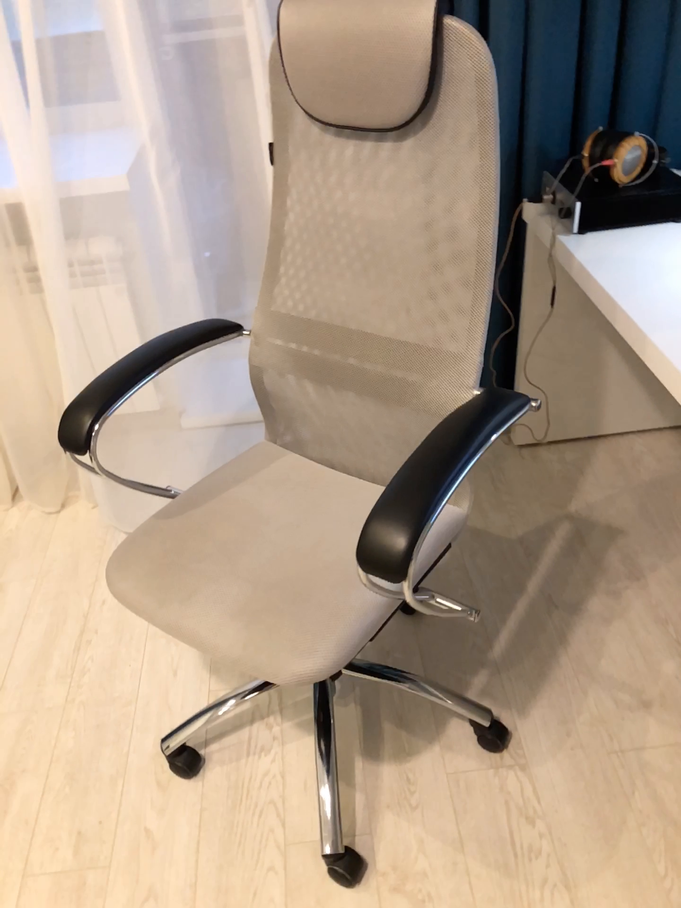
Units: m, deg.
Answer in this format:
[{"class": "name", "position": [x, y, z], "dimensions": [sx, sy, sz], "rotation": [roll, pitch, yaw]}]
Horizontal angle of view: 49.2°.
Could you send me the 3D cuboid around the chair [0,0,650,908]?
[{"class": "chair", "position": [-0.038, 0.030, 1.229], "dimensions": [0.691, 1.291, 0.684], "rotation": [17, 42, 29]}]
